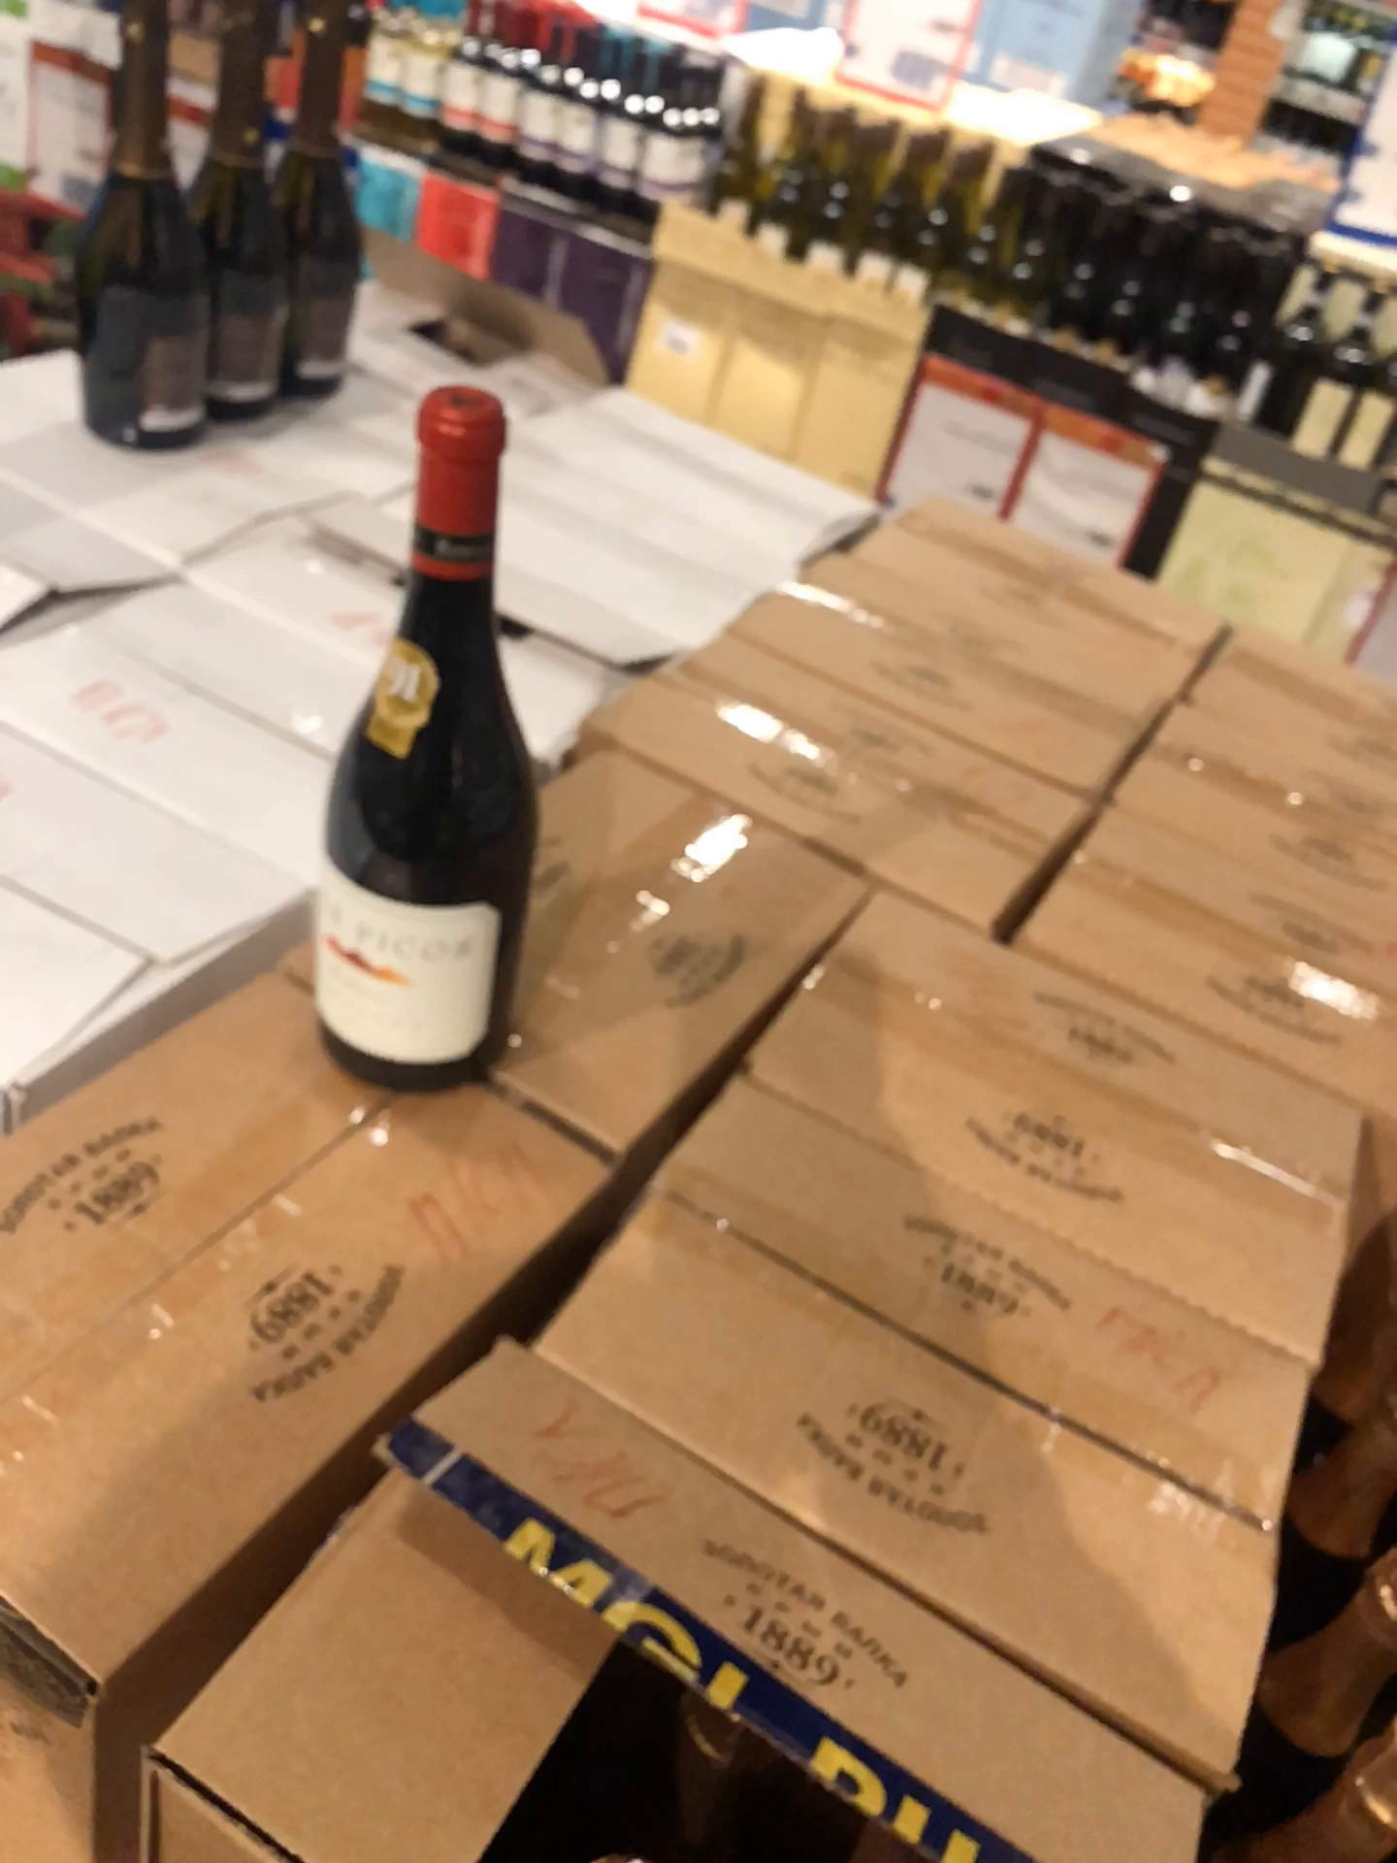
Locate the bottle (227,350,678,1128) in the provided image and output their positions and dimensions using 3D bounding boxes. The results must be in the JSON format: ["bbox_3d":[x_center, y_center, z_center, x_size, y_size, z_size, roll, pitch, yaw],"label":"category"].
[{"bbox_3d":[-0.105,-0.069,0.611,0.100,0.268,0.101,10,37,-8],"label":"bottle"}]
